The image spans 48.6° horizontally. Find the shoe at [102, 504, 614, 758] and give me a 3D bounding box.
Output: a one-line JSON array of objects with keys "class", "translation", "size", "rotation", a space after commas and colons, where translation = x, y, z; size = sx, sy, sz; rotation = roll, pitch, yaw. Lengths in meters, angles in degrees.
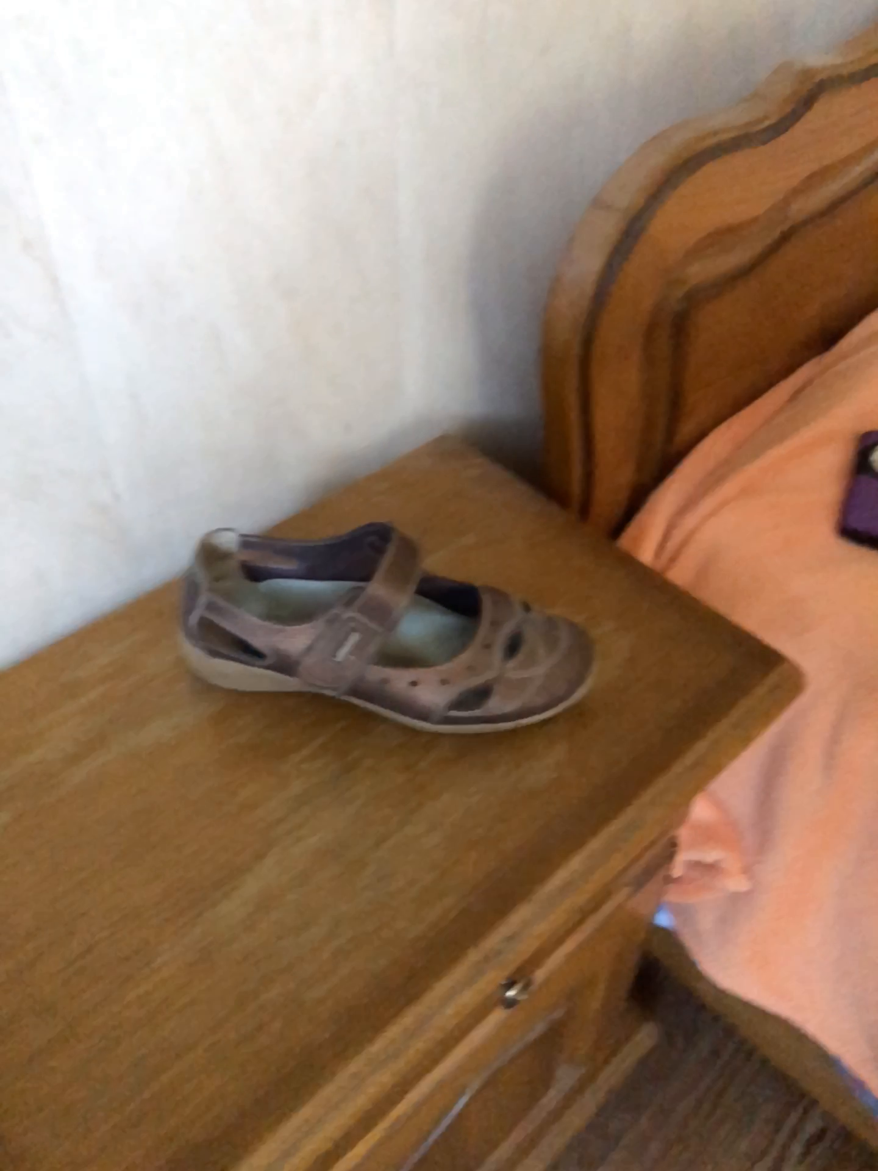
[{"class": "shoe", "translation": [-0.039, 0.025, 0.559], "size": [0.260, 0.089, 0.101], "rotation": [2, 43, 2]}]
